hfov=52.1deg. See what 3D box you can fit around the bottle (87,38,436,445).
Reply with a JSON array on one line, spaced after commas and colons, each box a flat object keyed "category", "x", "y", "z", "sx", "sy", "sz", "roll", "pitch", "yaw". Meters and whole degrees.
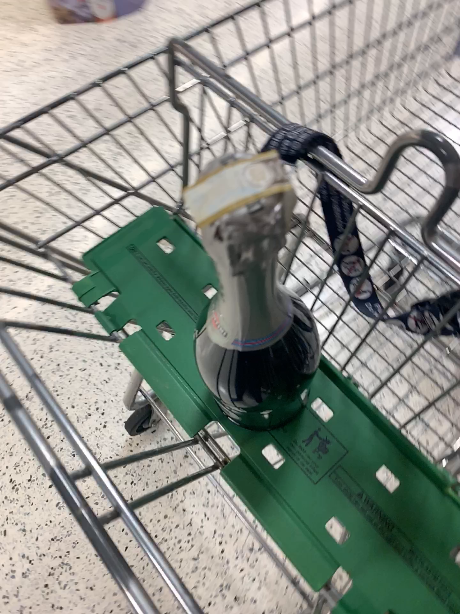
[{"category": "bottle", "x": 0.017, "y": 0.006, "z": 0.300, "sx": 0.100, "sy": 0.288, "sz": 0.101, "roll": -2, "pitch": 66, "yaw": 5}]
